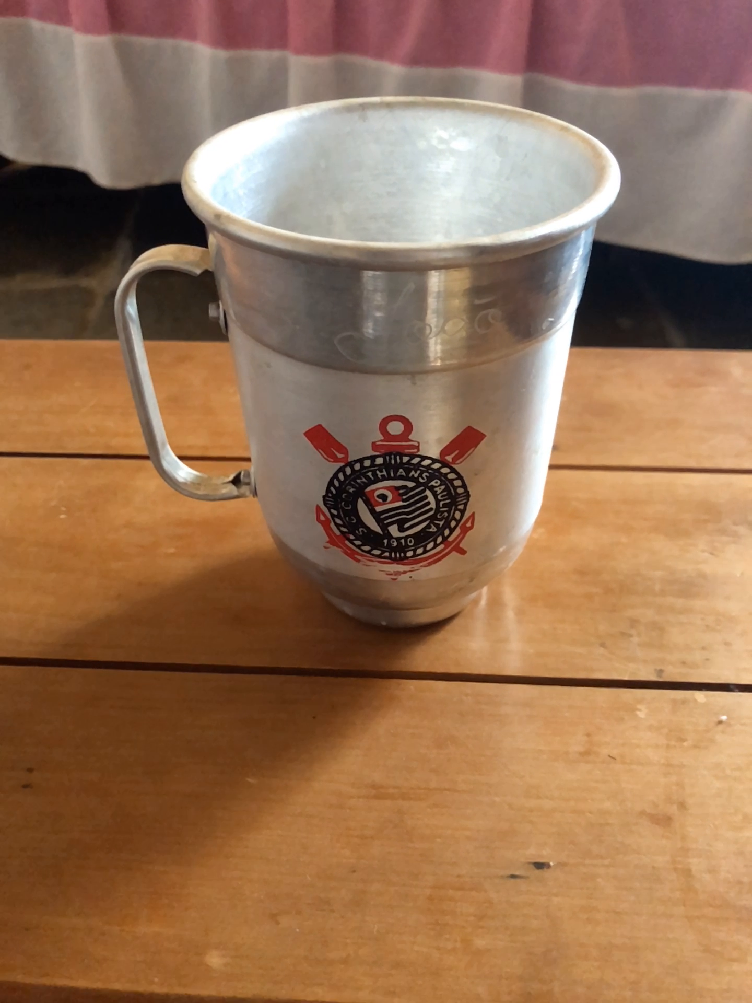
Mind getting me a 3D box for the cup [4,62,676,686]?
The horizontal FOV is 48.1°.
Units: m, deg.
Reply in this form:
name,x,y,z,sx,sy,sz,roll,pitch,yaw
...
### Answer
name,x,y,z,sx,sy,sz,roll,pitch,yaw
cup,-0.003,-0.035,0.229,0.120,0.129,0.101,3,40,4
